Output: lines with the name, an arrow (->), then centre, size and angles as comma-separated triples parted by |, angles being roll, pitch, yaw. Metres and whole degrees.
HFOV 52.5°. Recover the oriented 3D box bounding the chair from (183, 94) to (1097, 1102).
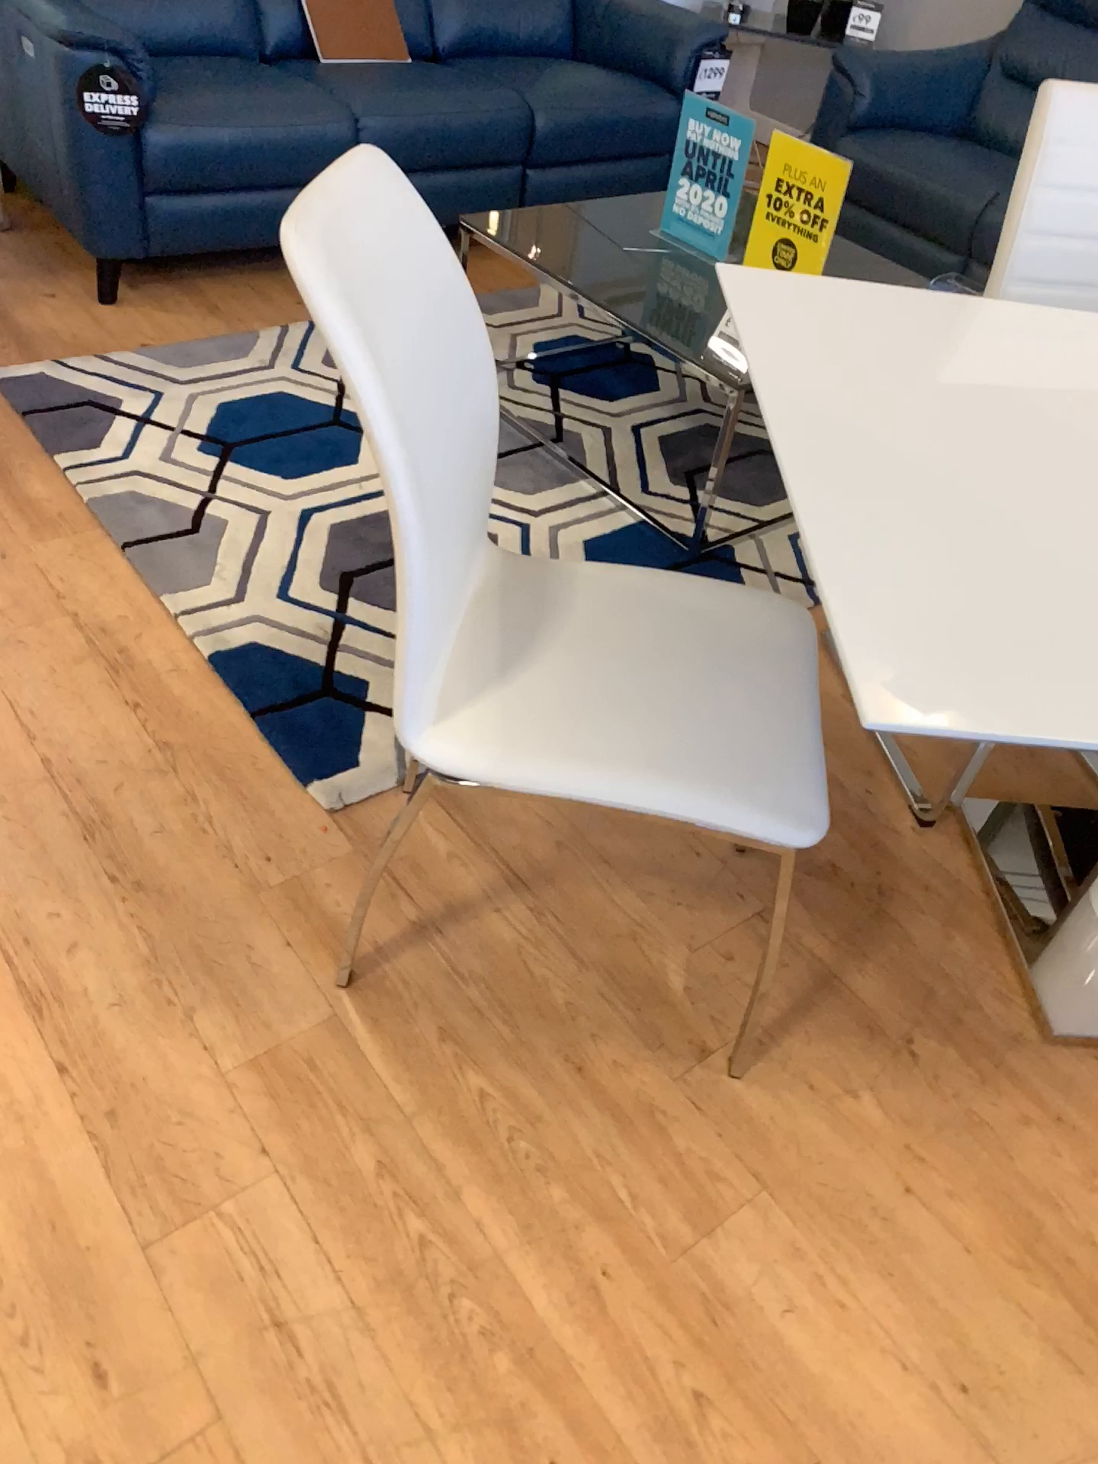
chair -> 0.046, -0.109, 1.256 | 0.670, 0.881, 0.495 | 13, 42, 2
